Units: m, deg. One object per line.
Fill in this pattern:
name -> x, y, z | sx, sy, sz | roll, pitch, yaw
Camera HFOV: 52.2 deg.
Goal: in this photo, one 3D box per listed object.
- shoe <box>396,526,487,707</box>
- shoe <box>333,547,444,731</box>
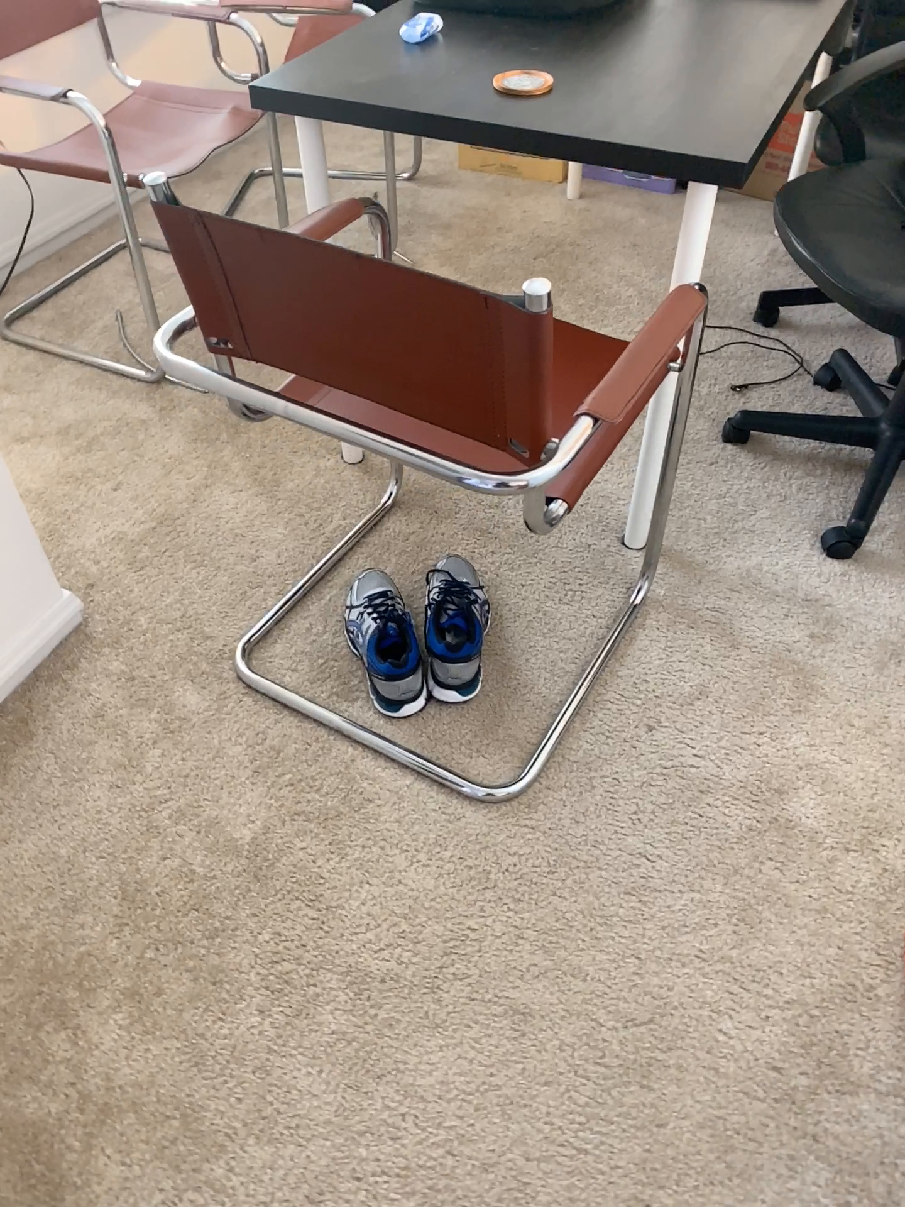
shoe -> -0.012, 0.015, 1.528 | 0.130, 0.099, 0.312 | 2, 46, 2
shoe -> -0.113, 0.053, 1.583 | 0.130, 0.099, 0.312 | -10, 47, -9
